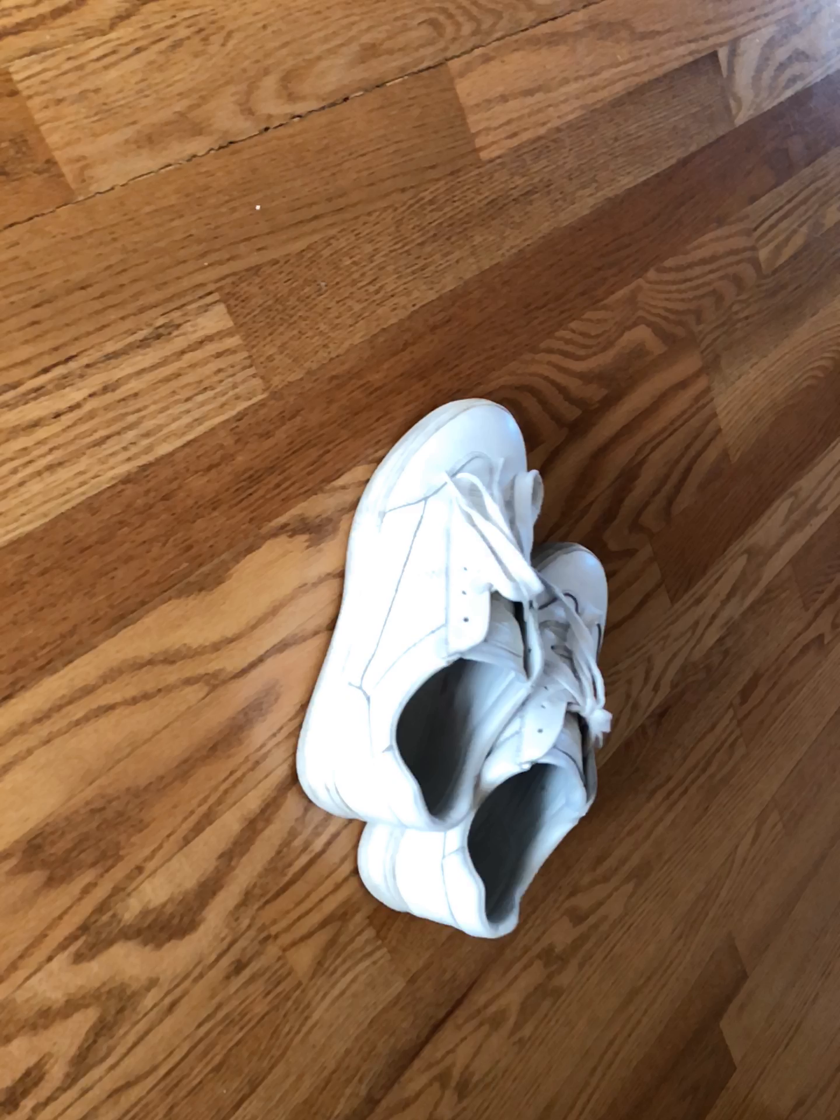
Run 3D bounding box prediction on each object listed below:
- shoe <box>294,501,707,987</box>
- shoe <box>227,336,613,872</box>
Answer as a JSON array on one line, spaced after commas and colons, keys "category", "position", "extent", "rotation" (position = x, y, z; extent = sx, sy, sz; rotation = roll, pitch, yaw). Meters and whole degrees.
[{"category": "shoe", "position": [0.057, 0.097, 0.563], "extent": [0.103, 0.106, 0.260], "rotation": [46, 66, -32]}, {"category": "shoe", "position": [0.003, 0.022, 0.517], "extent": [0.103, 0.104, 0.260], "rotation": [26, 77, -37]}]
